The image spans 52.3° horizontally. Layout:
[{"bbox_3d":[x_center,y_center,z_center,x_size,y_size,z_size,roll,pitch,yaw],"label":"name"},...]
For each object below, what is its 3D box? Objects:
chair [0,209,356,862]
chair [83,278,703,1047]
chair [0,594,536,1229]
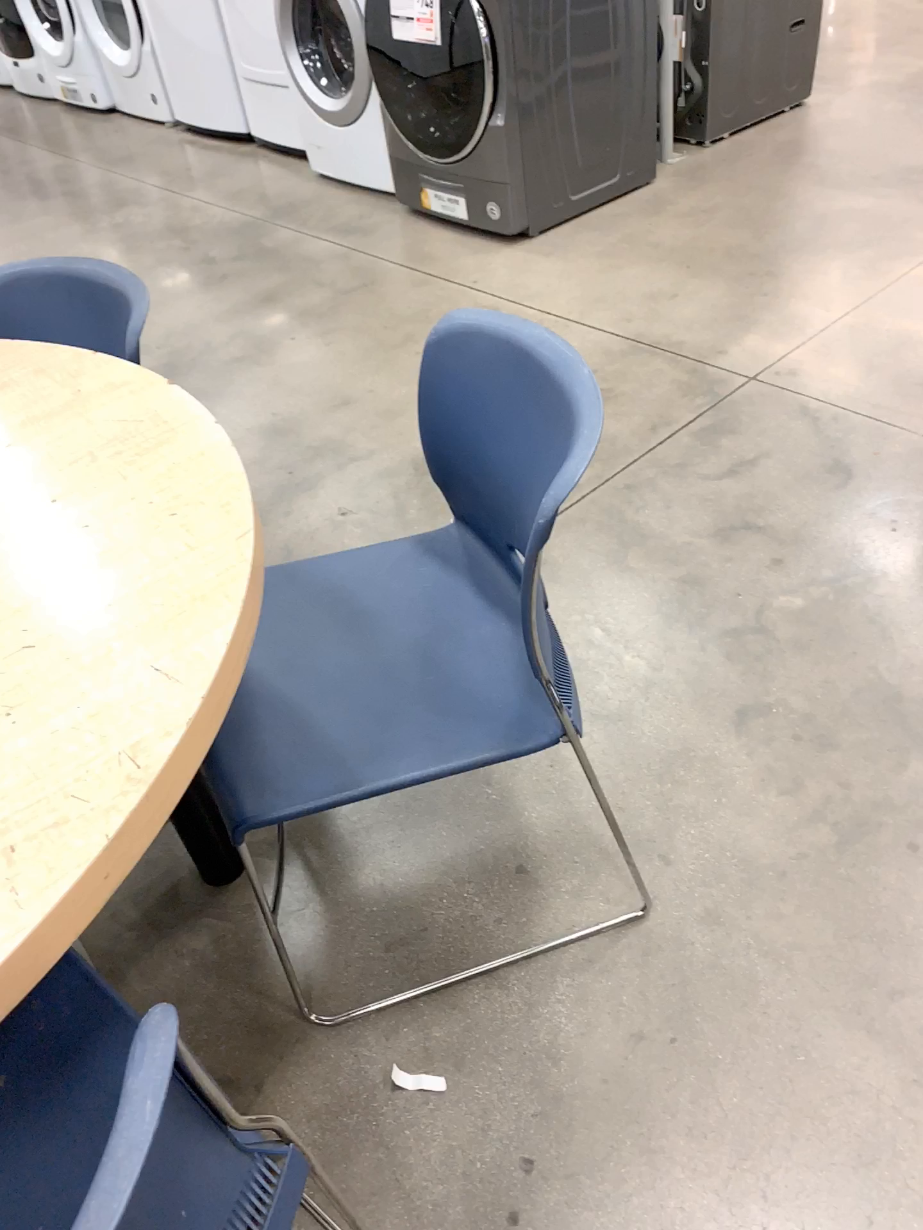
[{"bbox_3d":[-0.594,-0.133,1.480,0.485,0.749,0.532,25,52,32],"label":"chair"},{"bbox_3d":[-0.071,0.074,1.231,0.551,0.749,0.486,-17,42,-9],"label":"chair"},{"bbox_3d":[-0.336,0.490,0.777,0.573,0.729,0.484,24,51,32],"label":"chair"}]
